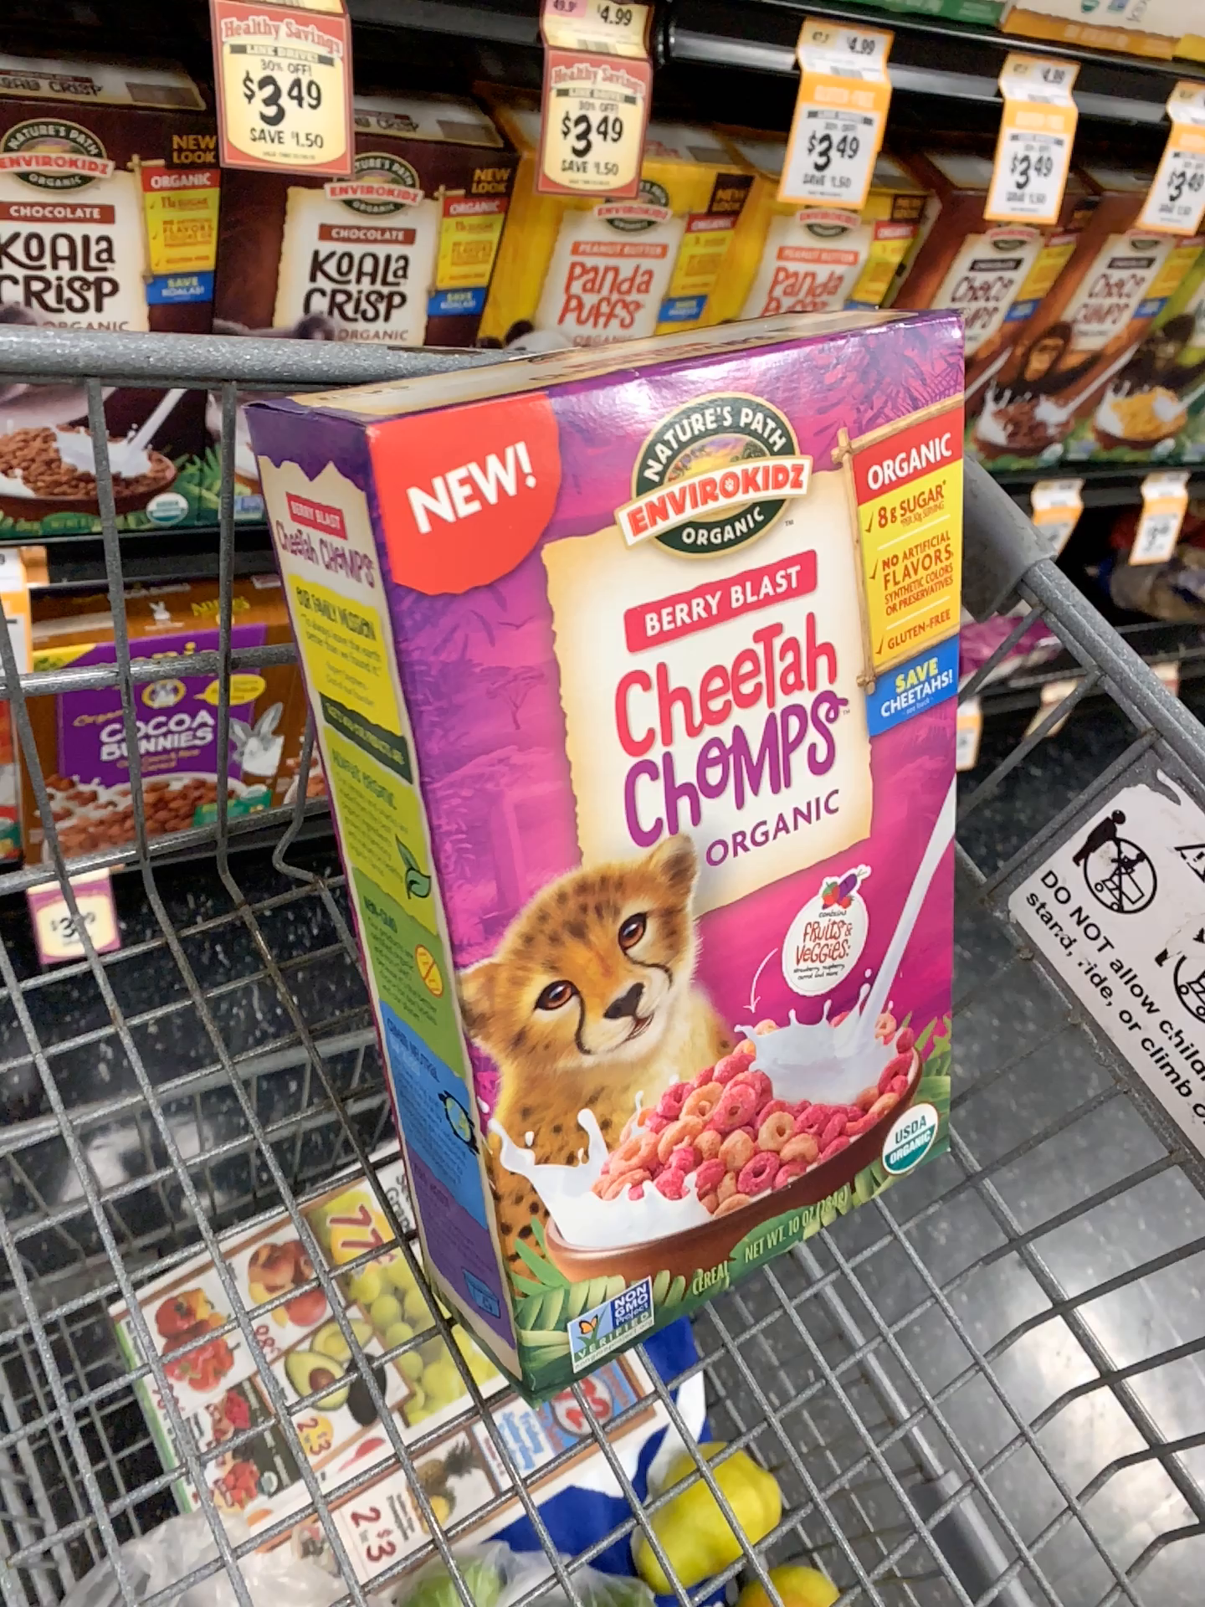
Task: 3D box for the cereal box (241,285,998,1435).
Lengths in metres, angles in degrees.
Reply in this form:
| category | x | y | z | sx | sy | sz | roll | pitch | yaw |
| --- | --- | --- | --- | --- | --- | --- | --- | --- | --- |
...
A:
| category | x | y | z | sx | sy | sz | roll | pitch | yaw |
| --- | --- | --- | --- | --- | --- | --- | --- | --- | --- |
| cereal box | 0.021 | 0.010 | 0.320 | 0.160 | 0.249 | 0.060 | -21 | 28 | -29 |
